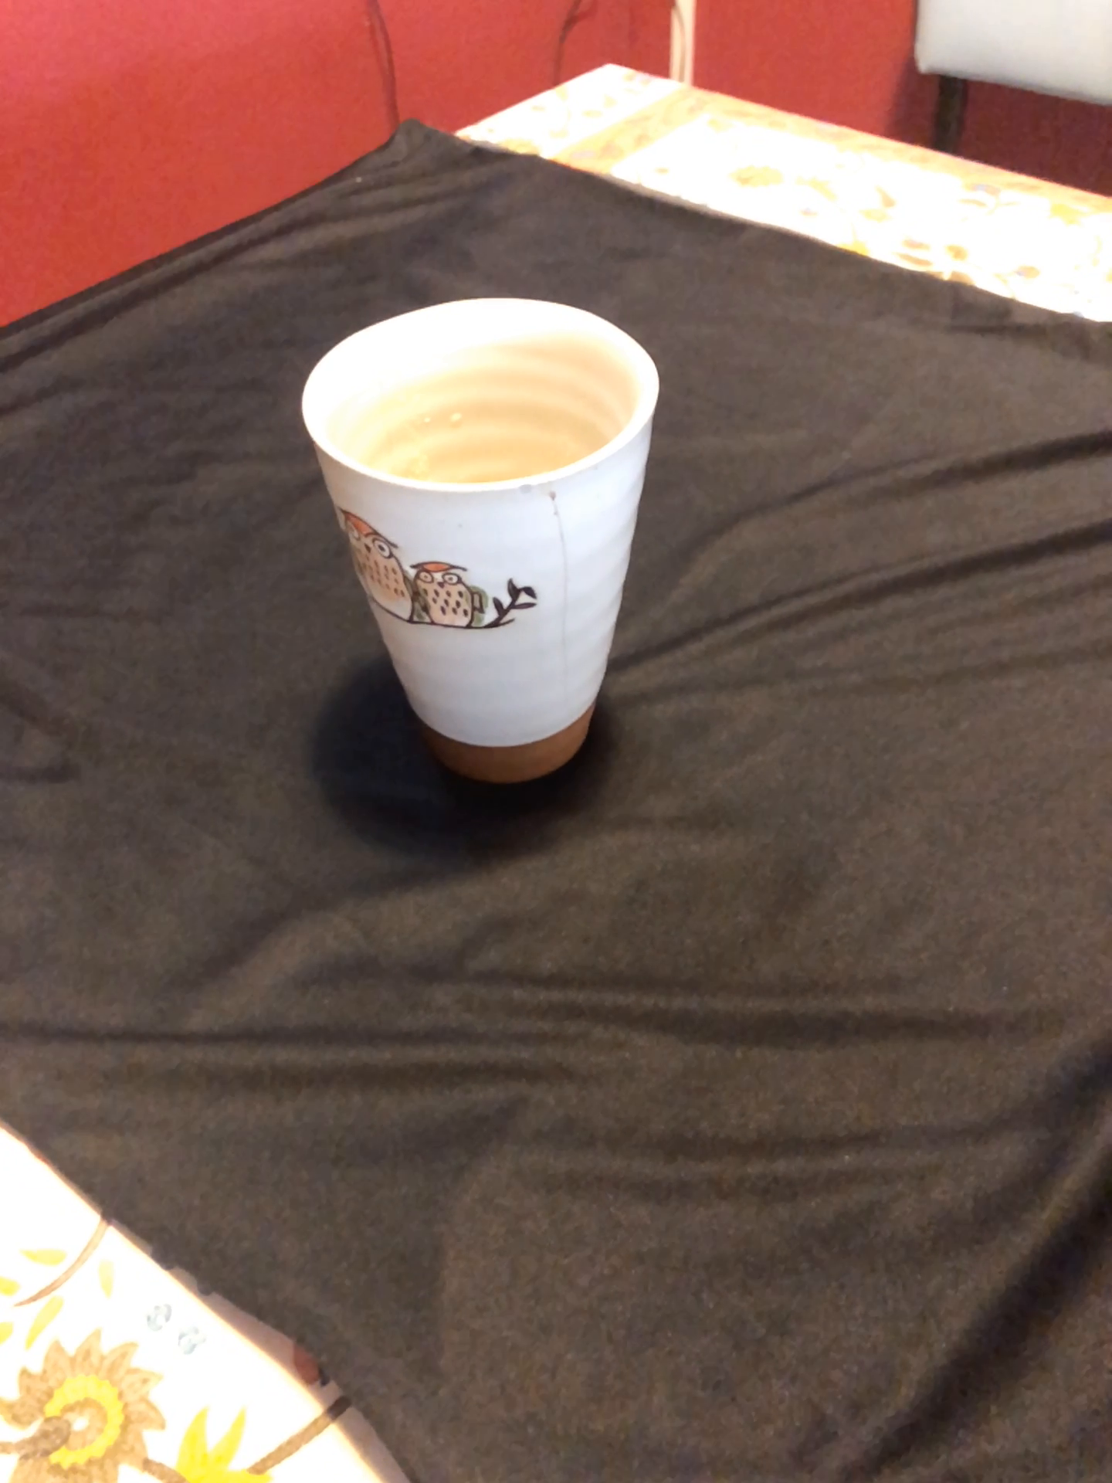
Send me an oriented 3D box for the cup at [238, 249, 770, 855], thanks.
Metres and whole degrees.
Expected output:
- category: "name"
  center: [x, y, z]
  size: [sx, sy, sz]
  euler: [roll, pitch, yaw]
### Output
- category: "cup"
  center: [-0.011, -0.049, 0.311]
  size: [0.090, 0.099, 0.080]
  euler: [-27, 50, -22]
